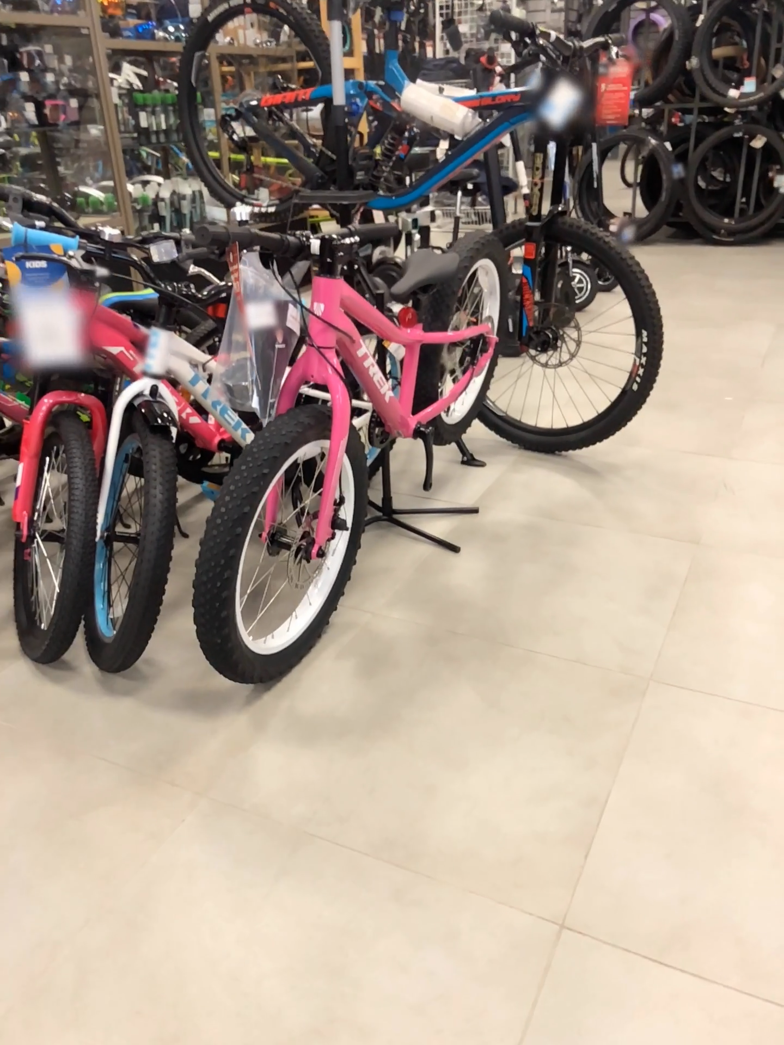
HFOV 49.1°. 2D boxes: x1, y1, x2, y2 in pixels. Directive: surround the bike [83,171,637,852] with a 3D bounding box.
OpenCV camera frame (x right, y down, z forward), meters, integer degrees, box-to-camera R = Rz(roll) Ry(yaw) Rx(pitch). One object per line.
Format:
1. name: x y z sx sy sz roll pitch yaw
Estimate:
1. bike: 0.063 -0.215 1.813 0.571 0.668 1.342 10 35 25
